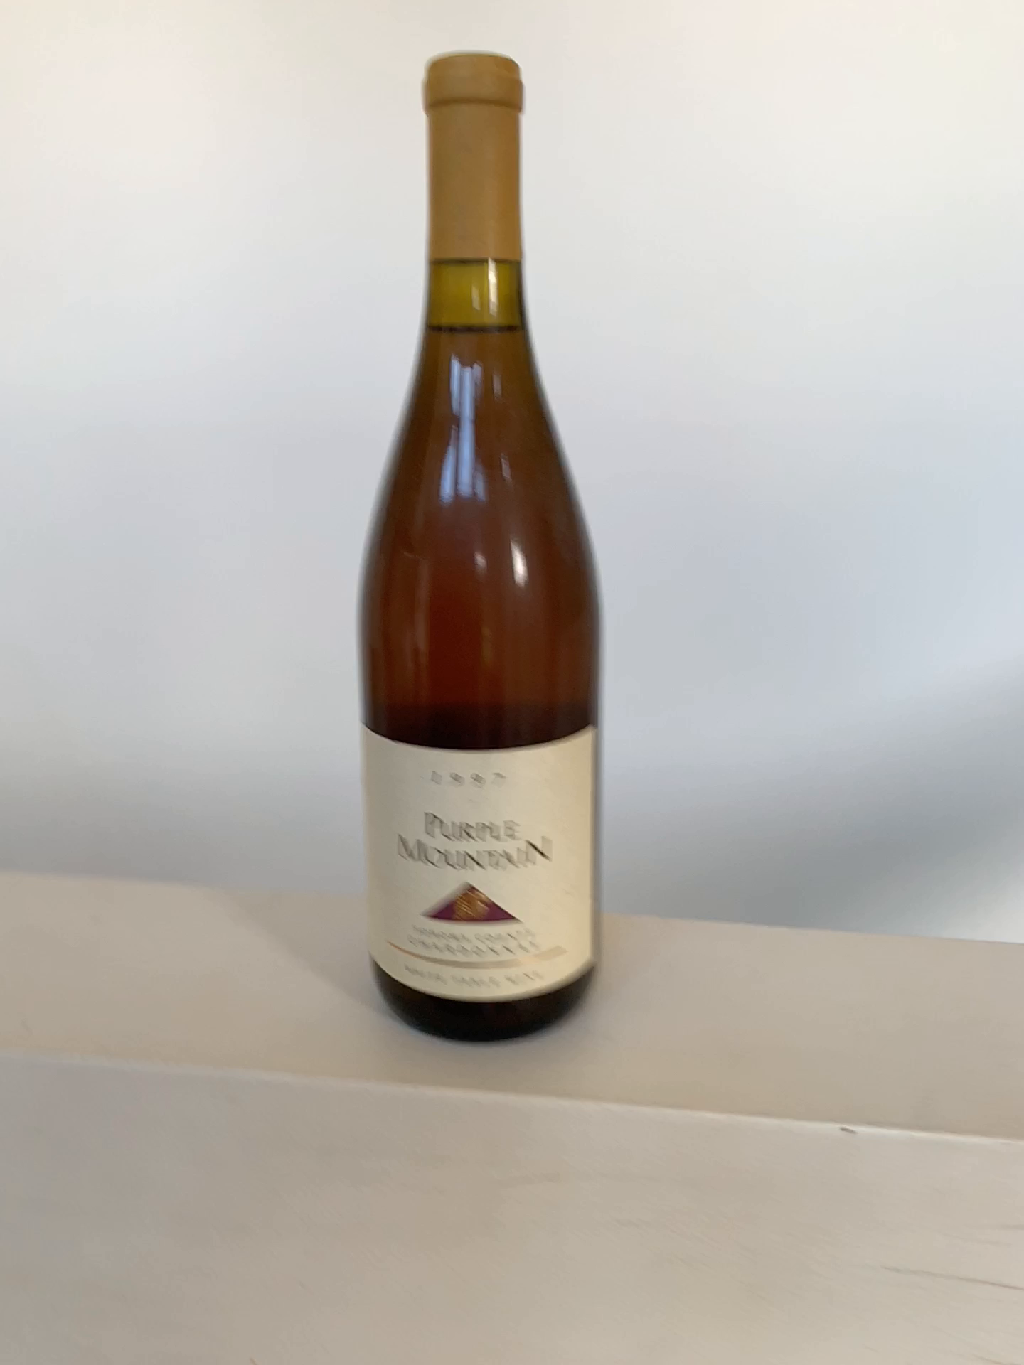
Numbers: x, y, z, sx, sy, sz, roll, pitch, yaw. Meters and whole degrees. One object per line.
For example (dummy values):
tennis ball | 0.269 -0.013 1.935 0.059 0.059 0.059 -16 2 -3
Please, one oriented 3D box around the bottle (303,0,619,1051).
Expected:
bottle | -0.011 -0.040 0.347 0.080 0.309 0.080 0 15 0
